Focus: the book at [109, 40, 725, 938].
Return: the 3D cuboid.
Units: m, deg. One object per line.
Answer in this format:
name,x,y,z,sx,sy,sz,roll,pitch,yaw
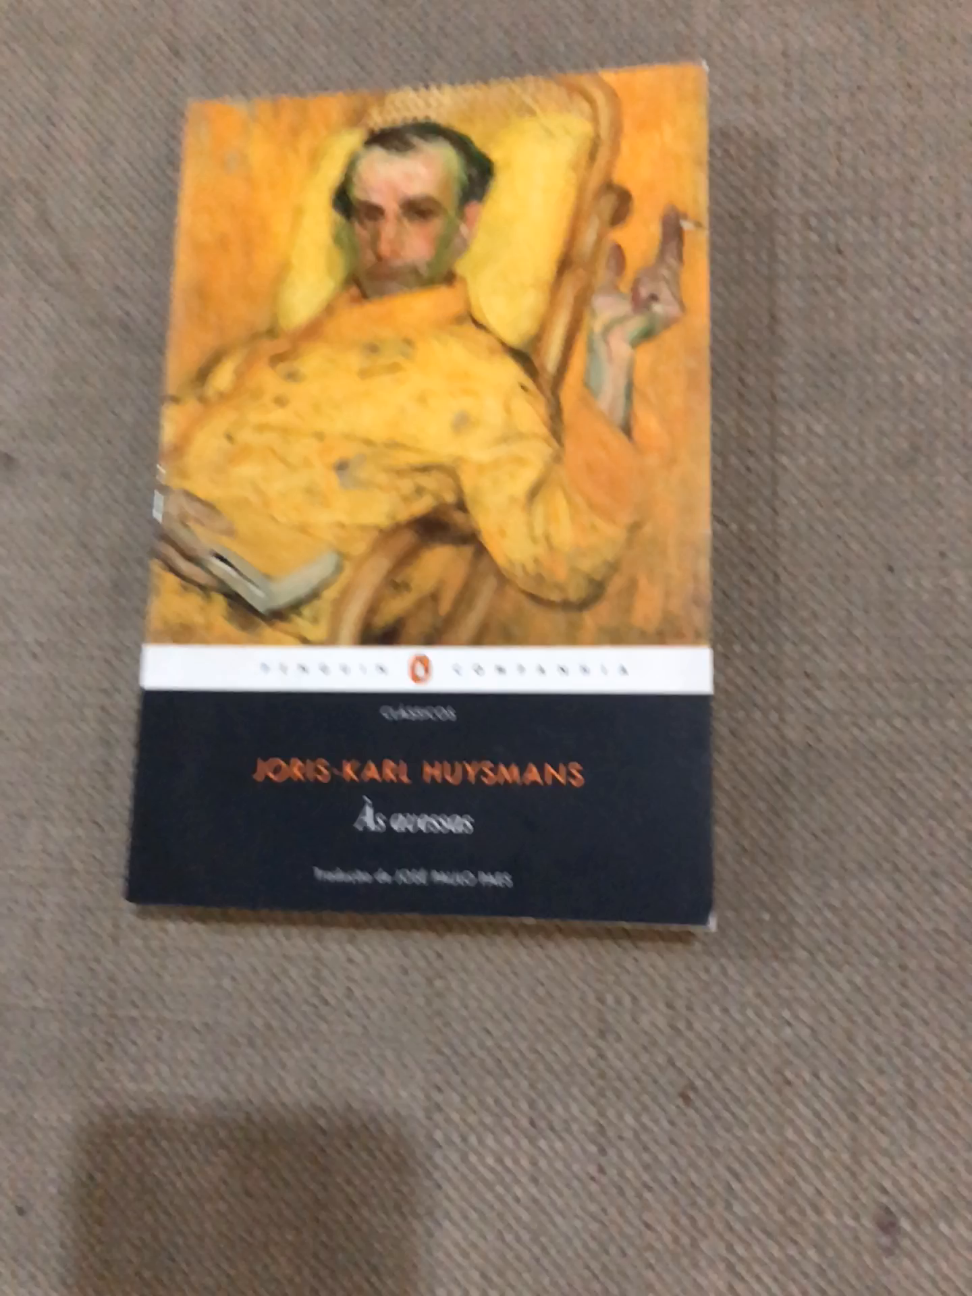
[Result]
book,-0.012,-0.038,0.250,0.130,0.023,0.195,0,81,9
